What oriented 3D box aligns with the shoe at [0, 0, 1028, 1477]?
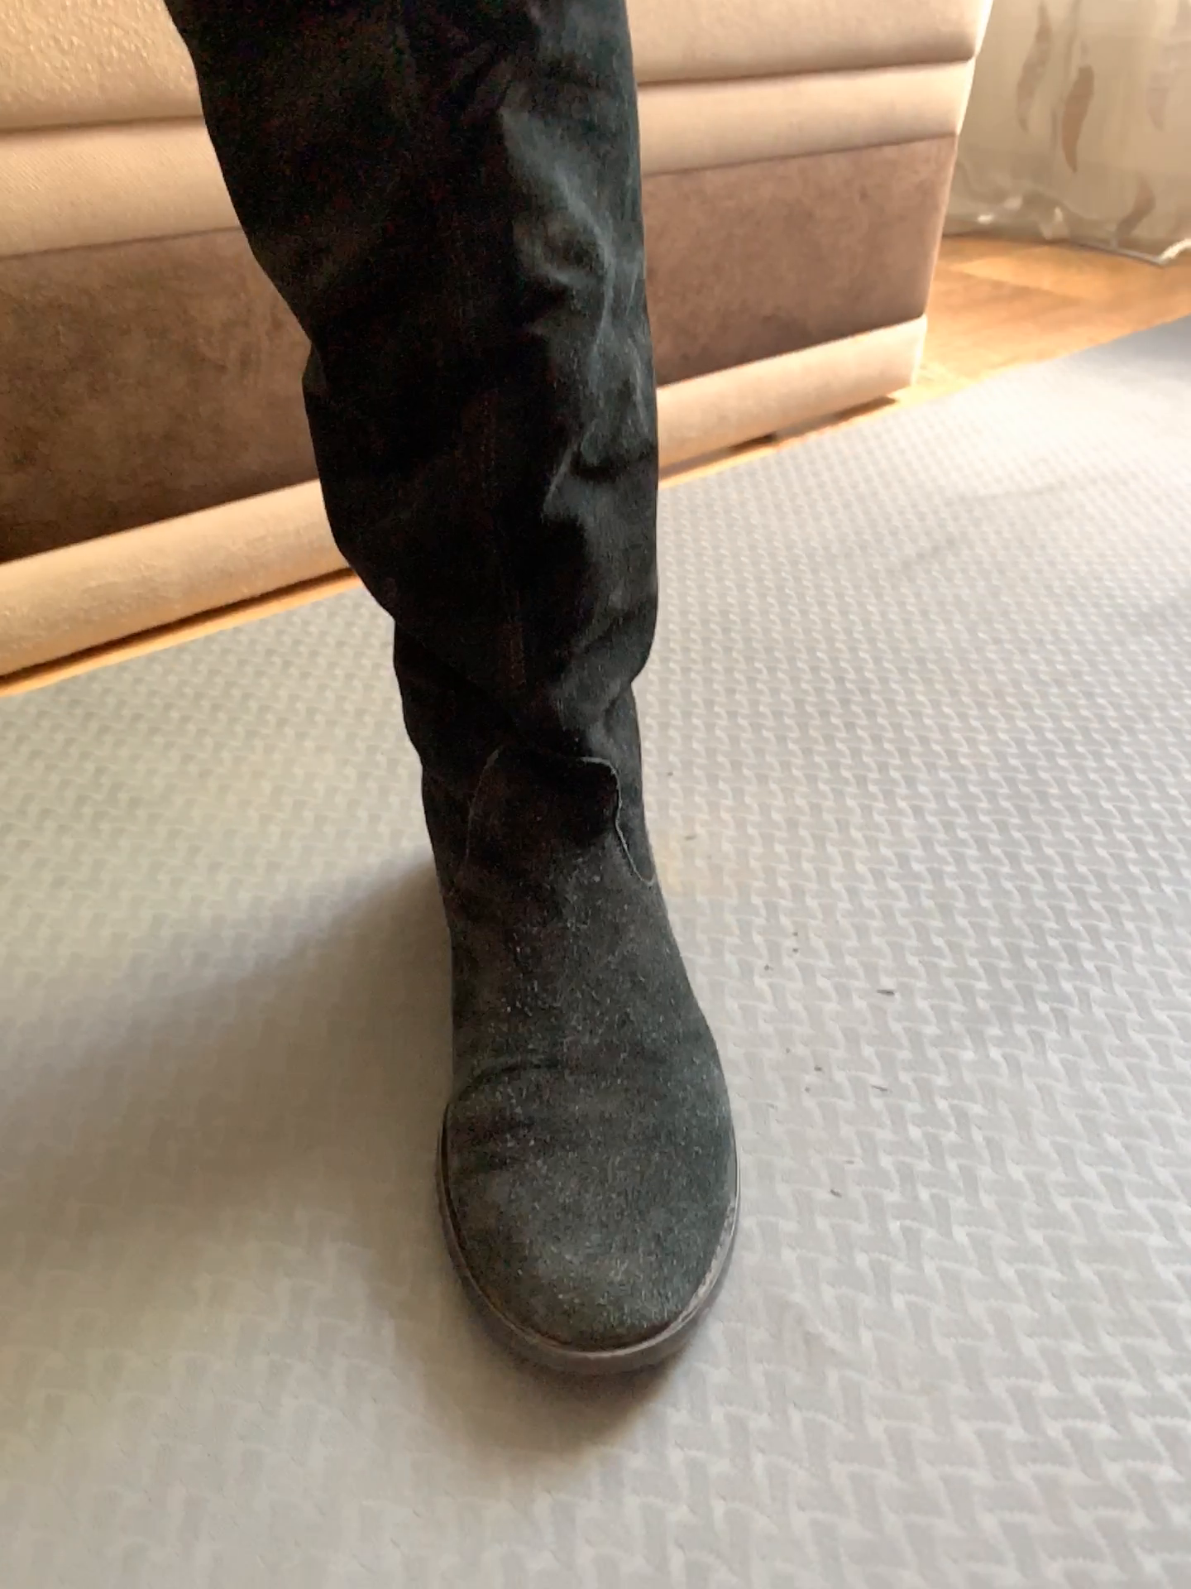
[{"bbox_3d":[-0.052,-0.098,0.322,0.130,0.378,0.322,-8,32,-8],"label":"shoe"}]
